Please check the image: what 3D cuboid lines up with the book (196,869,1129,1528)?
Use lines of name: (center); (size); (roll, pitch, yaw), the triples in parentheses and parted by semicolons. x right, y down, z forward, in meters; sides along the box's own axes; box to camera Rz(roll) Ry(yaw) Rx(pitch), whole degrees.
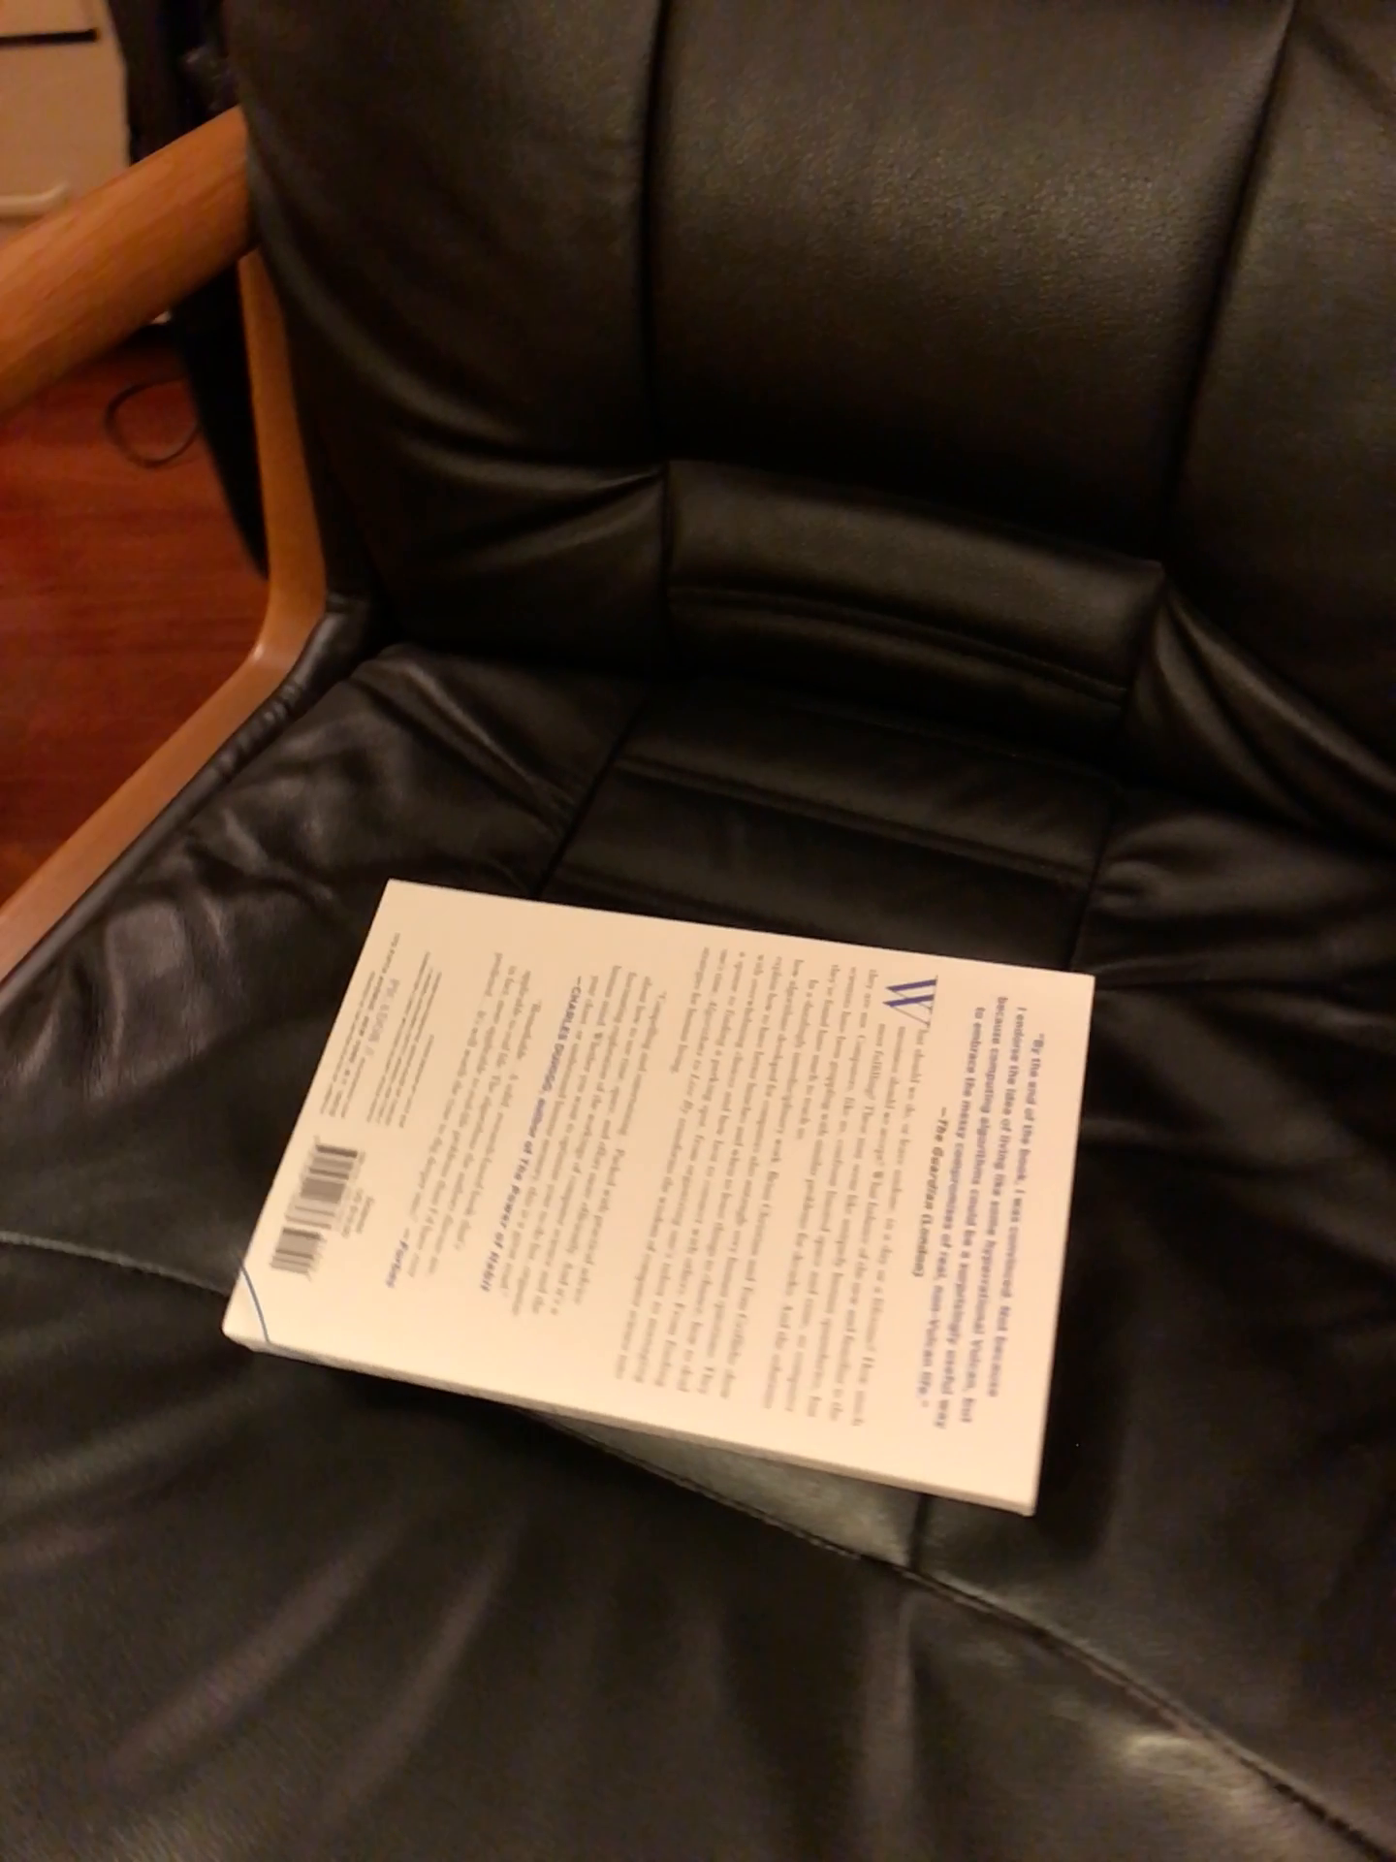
book: (-0.006, 0.069, 0.462); (0.250, 0.020, 0.161); (8, 59, 13)
